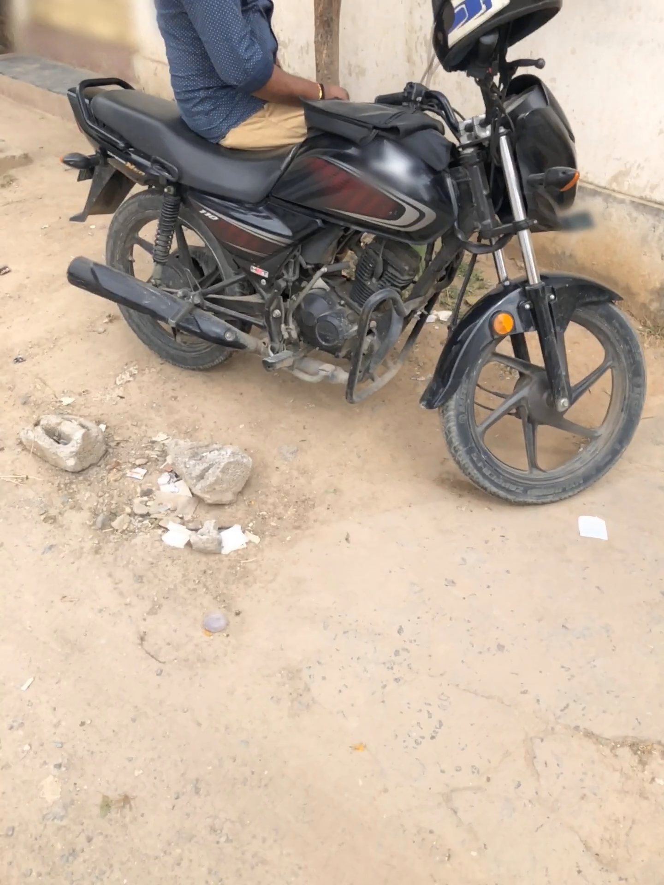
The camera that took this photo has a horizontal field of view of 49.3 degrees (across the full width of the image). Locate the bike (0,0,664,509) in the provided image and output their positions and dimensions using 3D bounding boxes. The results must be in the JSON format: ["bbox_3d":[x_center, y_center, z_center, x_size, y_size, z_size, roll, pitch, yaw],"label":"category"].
[{"bbox_3d":[0.085,-0.636,2.060,1.663,1.069,0.726,14,42,17],"label":"bike"}]
